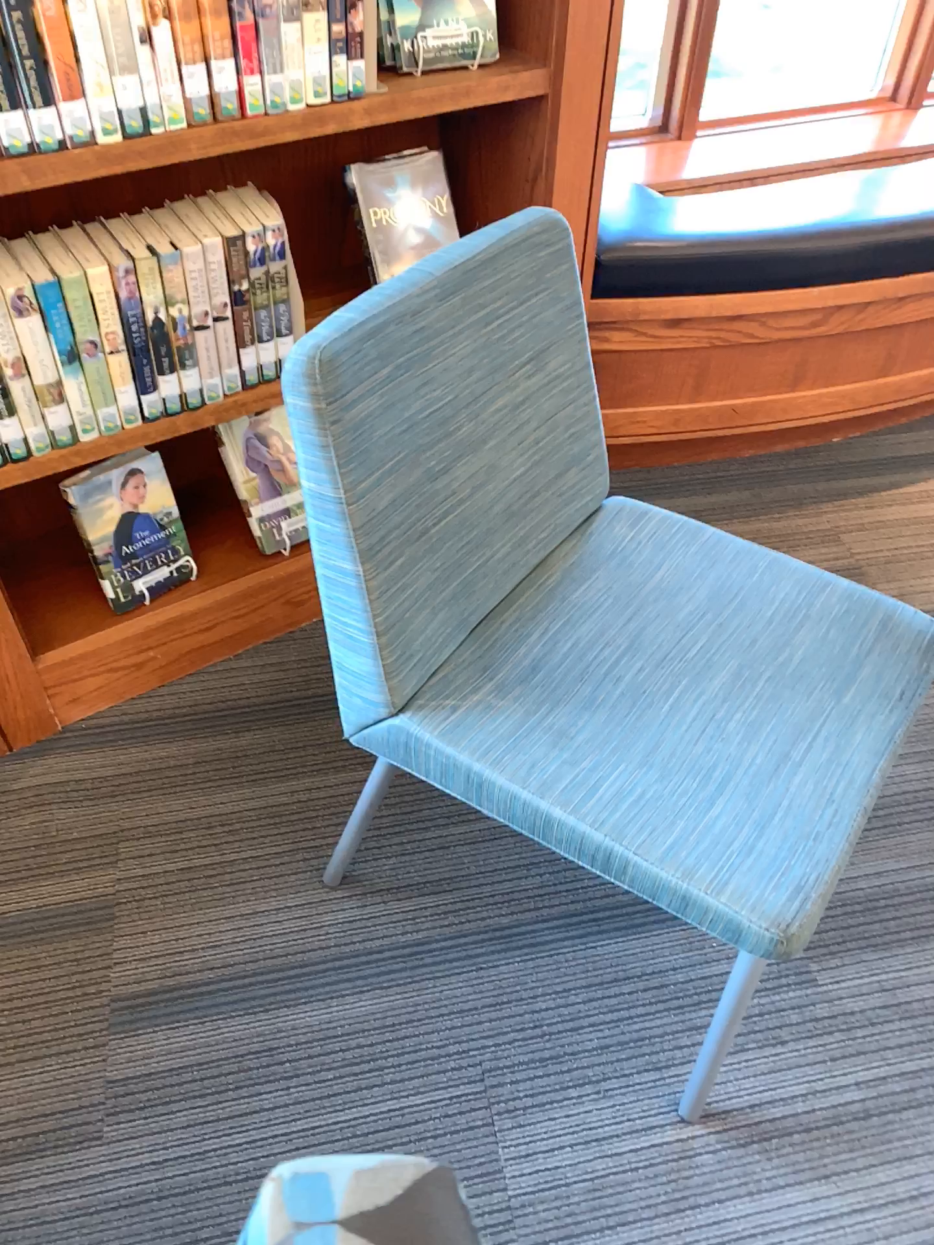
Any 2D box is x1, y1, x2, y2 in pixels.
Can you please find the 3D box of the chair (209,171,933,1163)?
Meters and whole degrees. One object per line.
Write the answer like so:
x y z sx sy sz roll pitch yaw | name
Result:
0.184 0.047 1.072 0.591 0.787 0.551 27 50 23 | chair
